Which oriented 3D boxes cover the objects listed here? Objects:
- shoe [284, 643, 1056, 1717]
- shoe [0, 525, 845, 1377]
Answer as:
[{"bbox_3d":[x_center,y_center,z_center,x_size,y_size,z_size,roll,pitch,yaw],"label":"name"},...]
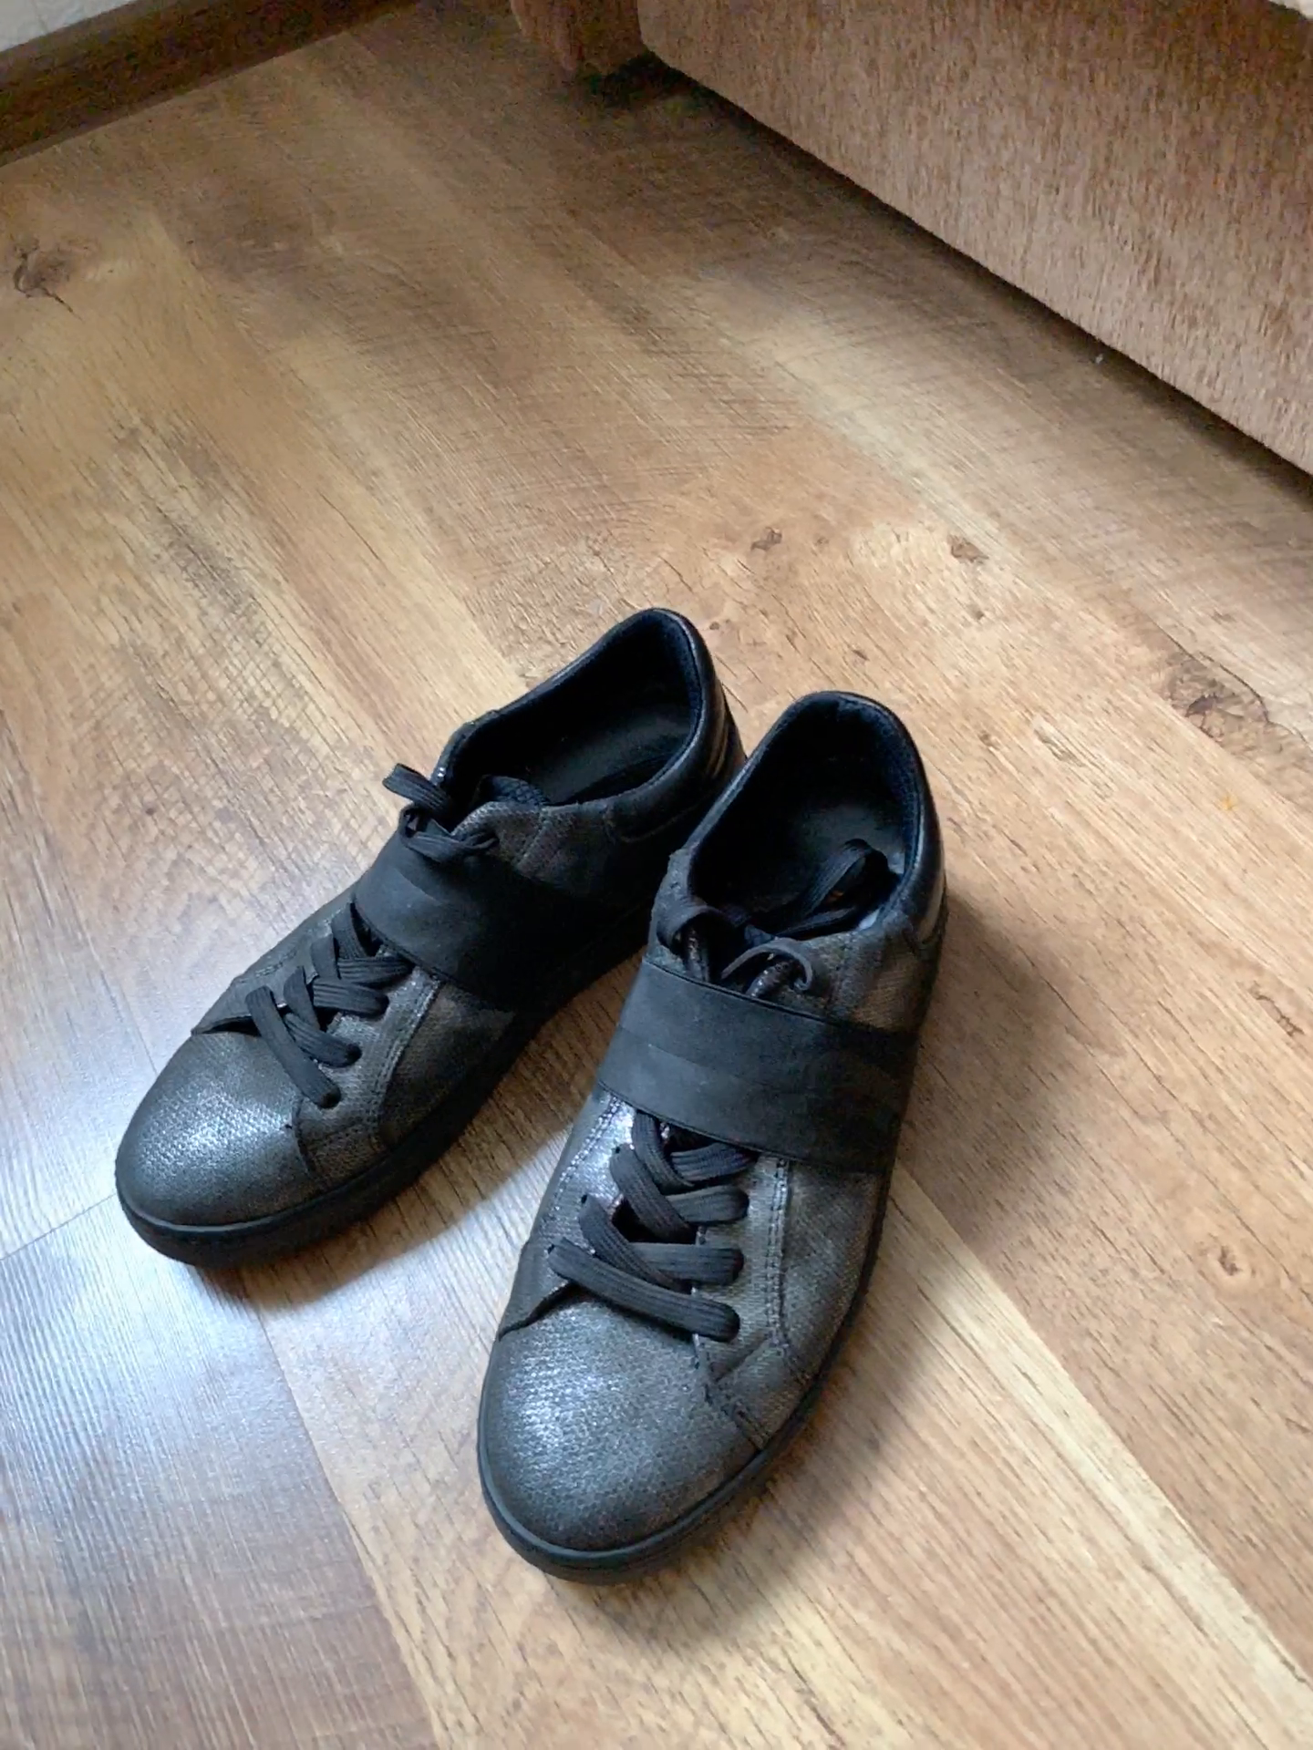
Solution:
[{"bbox_3d":[0.023,0.068,0.375,0.100,0.090,0.261,16,59,20],"label":"shoe"},{"bbox_3d":[-0.067,0.014,0.424,0.260,0.090,0.100,-40,58,-19],"label":"shoe"}]
